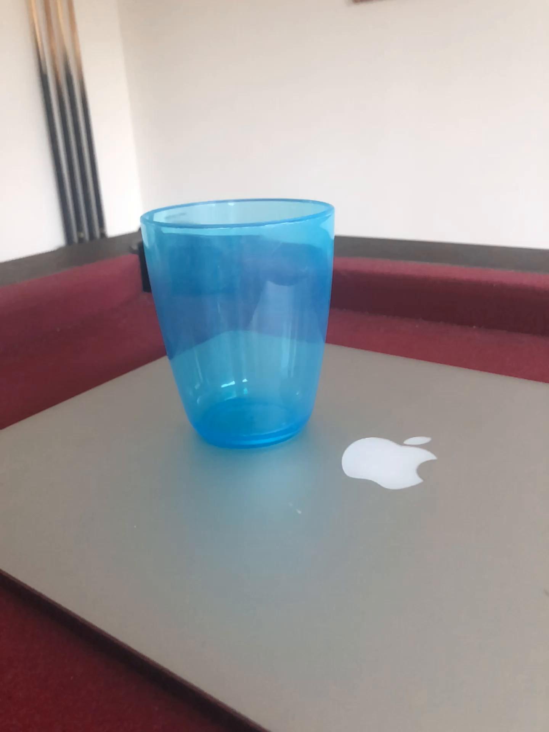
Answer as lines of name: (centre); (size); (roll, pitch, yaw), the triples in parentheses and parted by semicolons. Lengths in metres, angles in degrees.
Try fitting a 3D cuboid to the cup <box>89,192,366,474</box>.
cup: (-0.017, -0.024, 0.282); (0.090, 0.100, 0.080); (12, 26, 34)
